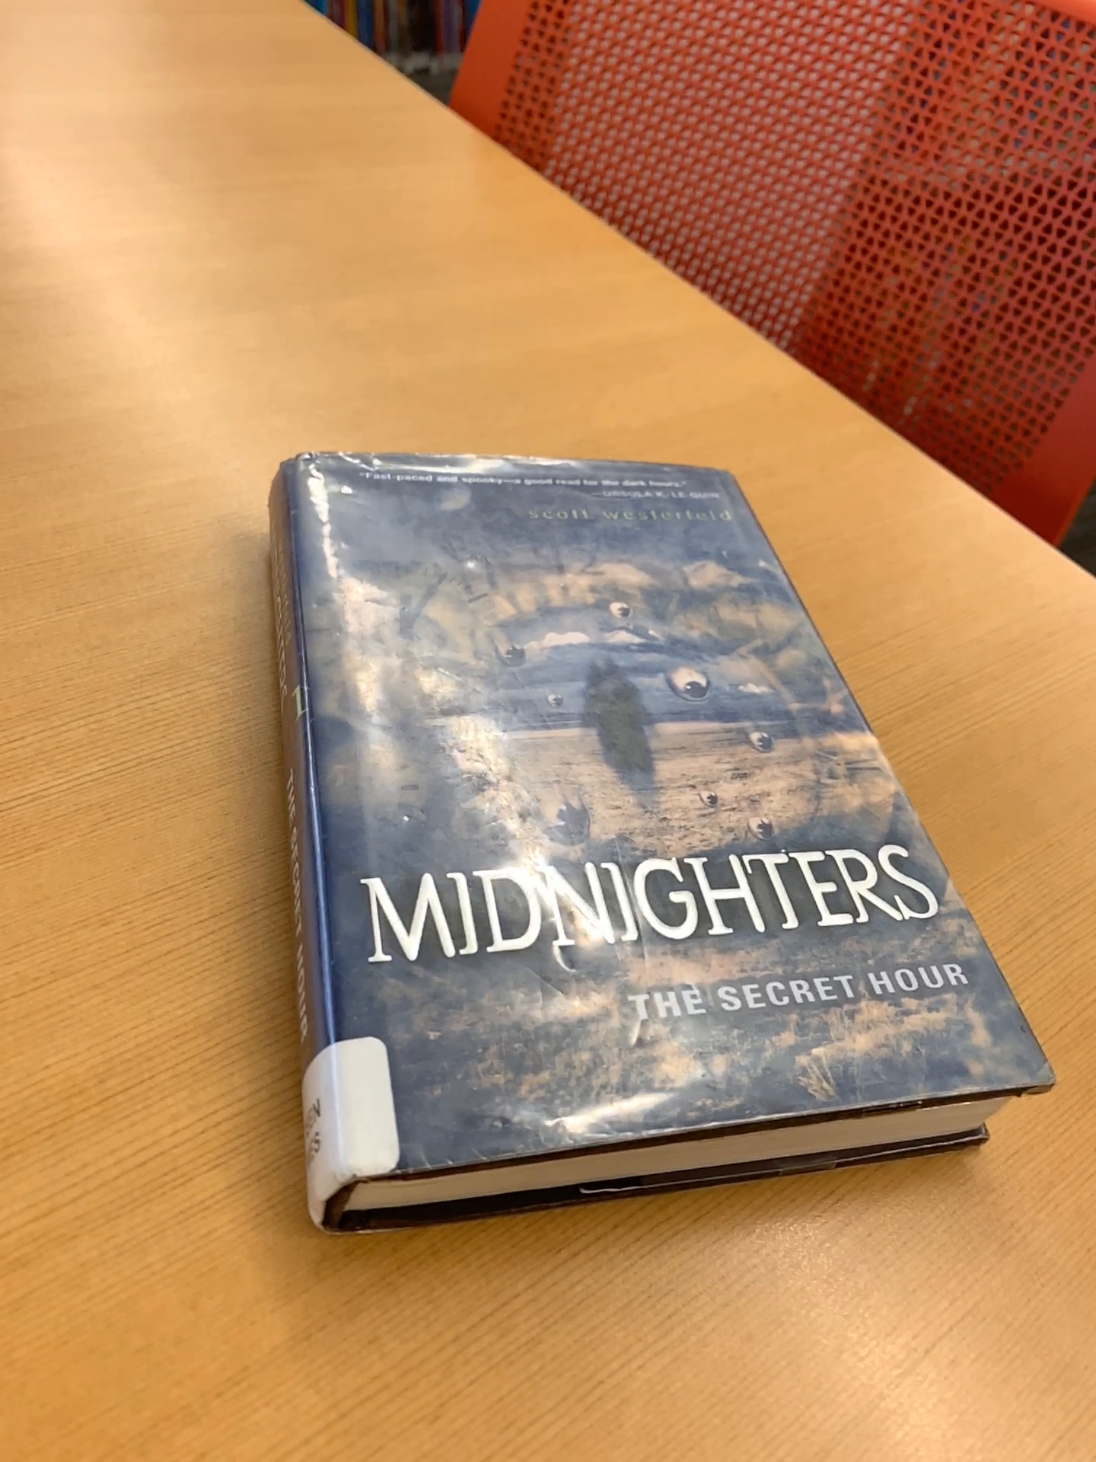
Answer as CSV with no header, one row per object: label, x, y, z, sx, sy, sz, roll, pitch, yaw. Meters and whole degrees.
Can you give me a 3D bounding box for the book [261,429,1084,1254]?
book,0.008,0.004,0.289,0.150,0.040,0.215,-2,47,-16
